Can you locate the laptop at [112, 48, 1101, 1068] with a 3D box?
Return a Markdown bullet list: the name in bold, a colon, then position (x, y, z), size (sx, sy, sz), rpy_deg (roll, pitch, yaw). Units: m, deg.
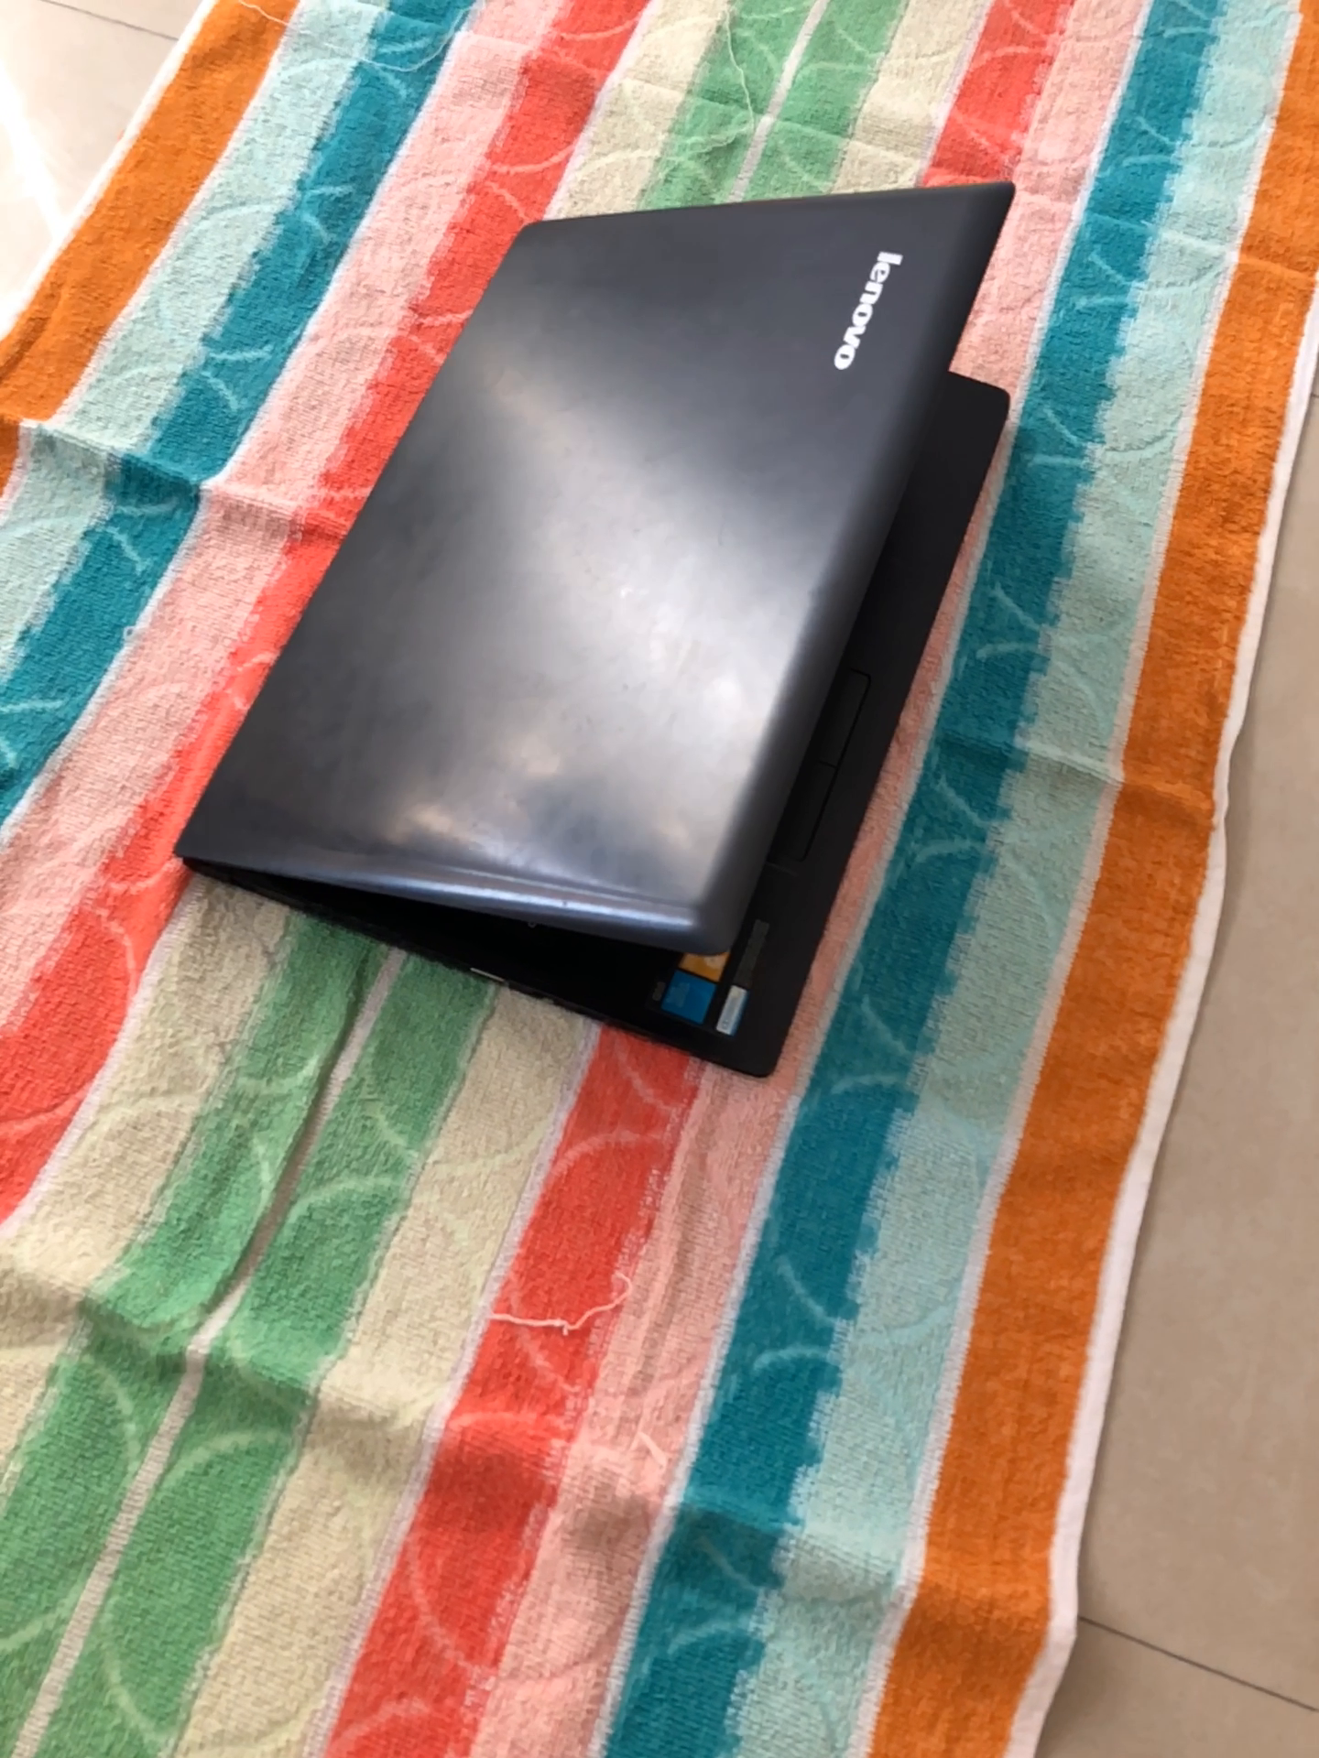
- **laptop**: position (-0.005, -0.145, 0.600), size (0.252, 0.126, 0.364), rpy_deg (19, 67, 8)
